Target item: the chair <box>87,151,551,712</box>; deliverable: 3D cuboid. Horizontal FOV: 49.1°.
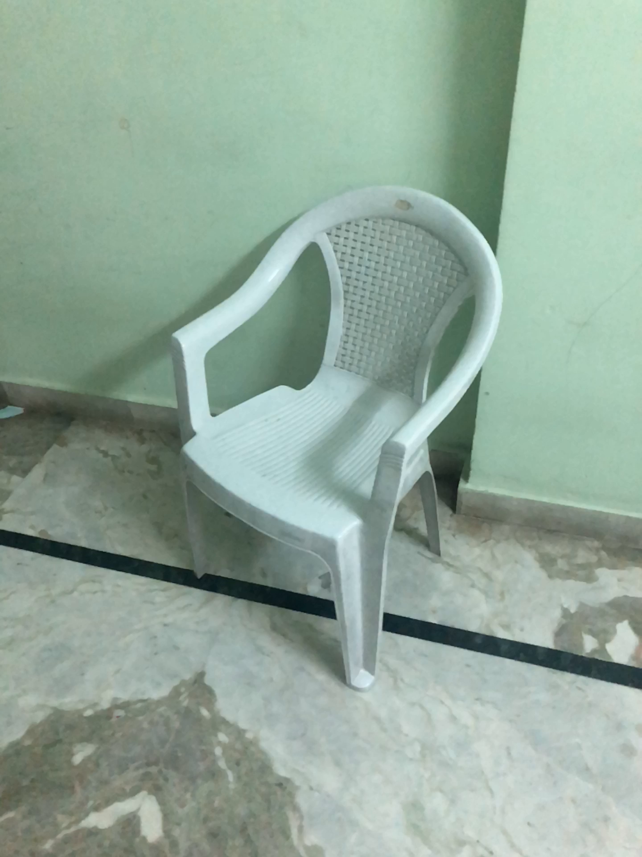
[{"bbox_3d":[0.020,-0.003,1.398,0.532,0.825,0.532,28,49,32],"label":"chair"}]
